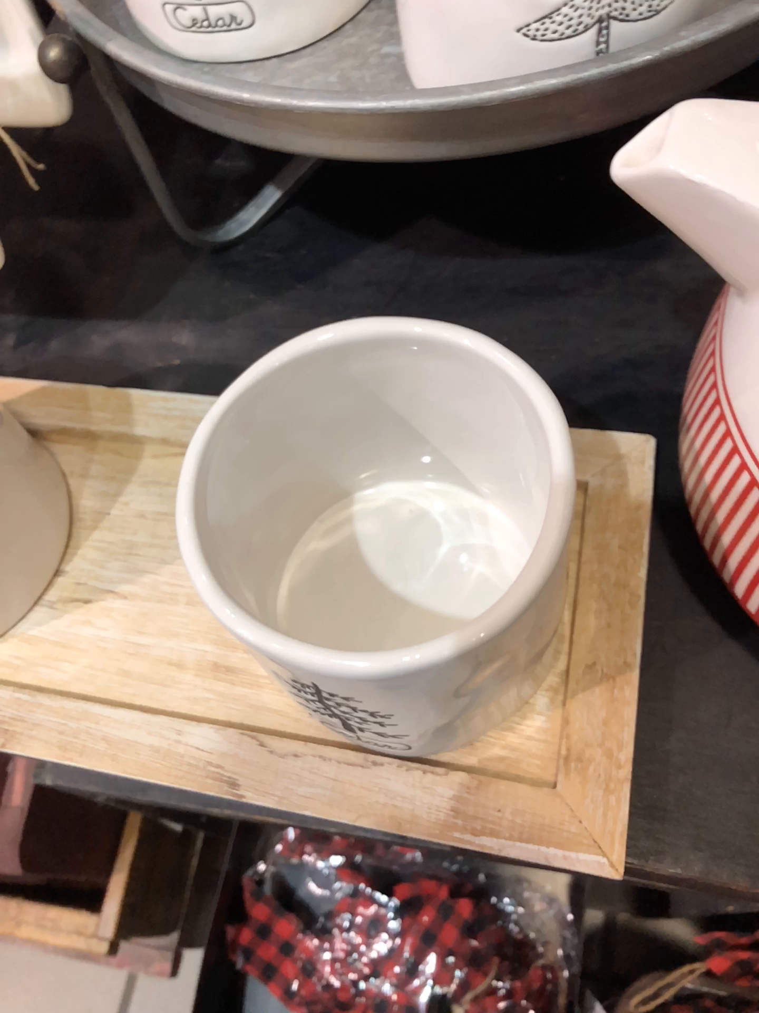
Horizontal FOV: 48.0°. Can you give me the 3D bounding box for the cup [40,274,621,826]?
[{"bbox_3d":[-0.002,0.016,0.222,0.097,0.100,0.087,17,68,18],"label":"cup"}]
